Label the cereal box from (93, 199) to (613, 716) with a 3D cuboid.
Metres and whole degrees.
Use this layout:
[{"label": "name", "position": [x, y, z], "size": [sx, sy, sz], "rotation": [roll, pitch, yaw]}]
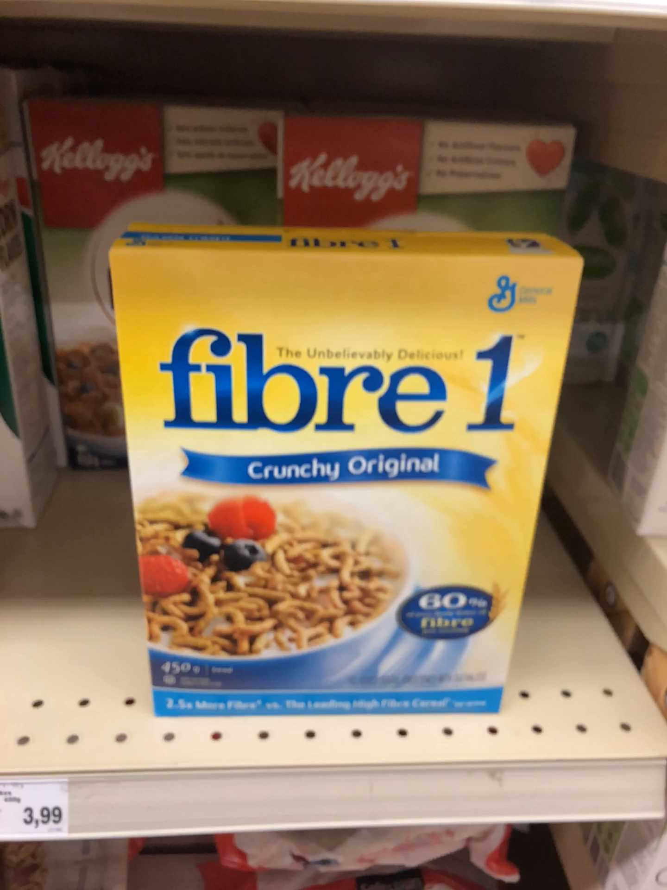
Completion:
[{"label": "cereal box", "position": [0.003, 0.020, 0.389], "size": [0.210, 0.268, 0.060], "rotation": [1, 27, -3]}]
